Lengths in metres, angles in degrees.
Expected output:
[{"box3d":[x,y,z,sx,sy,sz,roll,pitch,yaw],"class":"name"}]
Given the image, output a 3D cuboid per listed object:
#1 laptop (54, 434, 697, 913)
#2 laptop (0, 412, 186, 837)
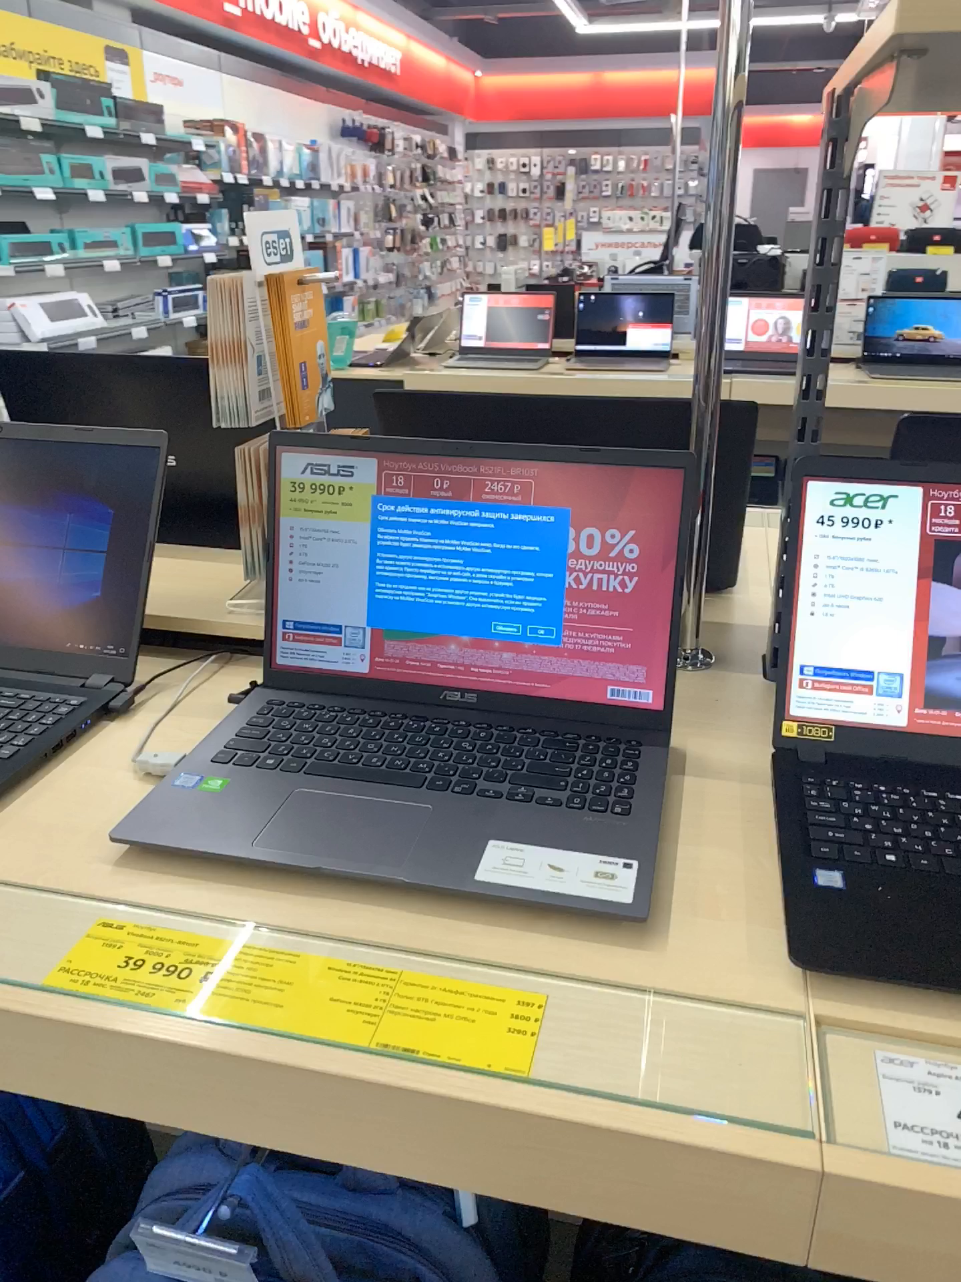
[{"box3d":[-0.042,-0.008,0.725,0.366,0.217,0.299,5,23,13],"class":"laptop"},{"box3d":[-0.514,-0.048,0.831,0.350,0.214,0.363,6,23,12],"class":"laptop"}]
